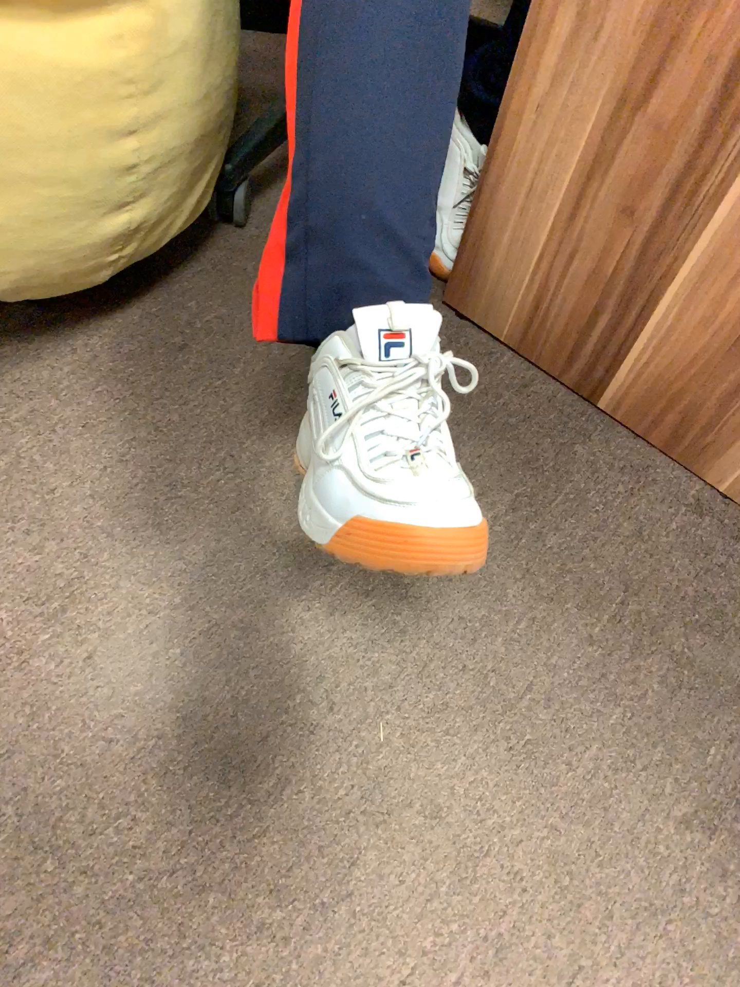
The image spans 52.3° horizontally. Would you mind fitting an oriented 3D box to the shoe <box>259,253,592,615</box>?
[{"bbox_3d":[0.013,-0.049,0.496,0.130,0.130,0.231,2,34,-18],"label":"shoe"}]
